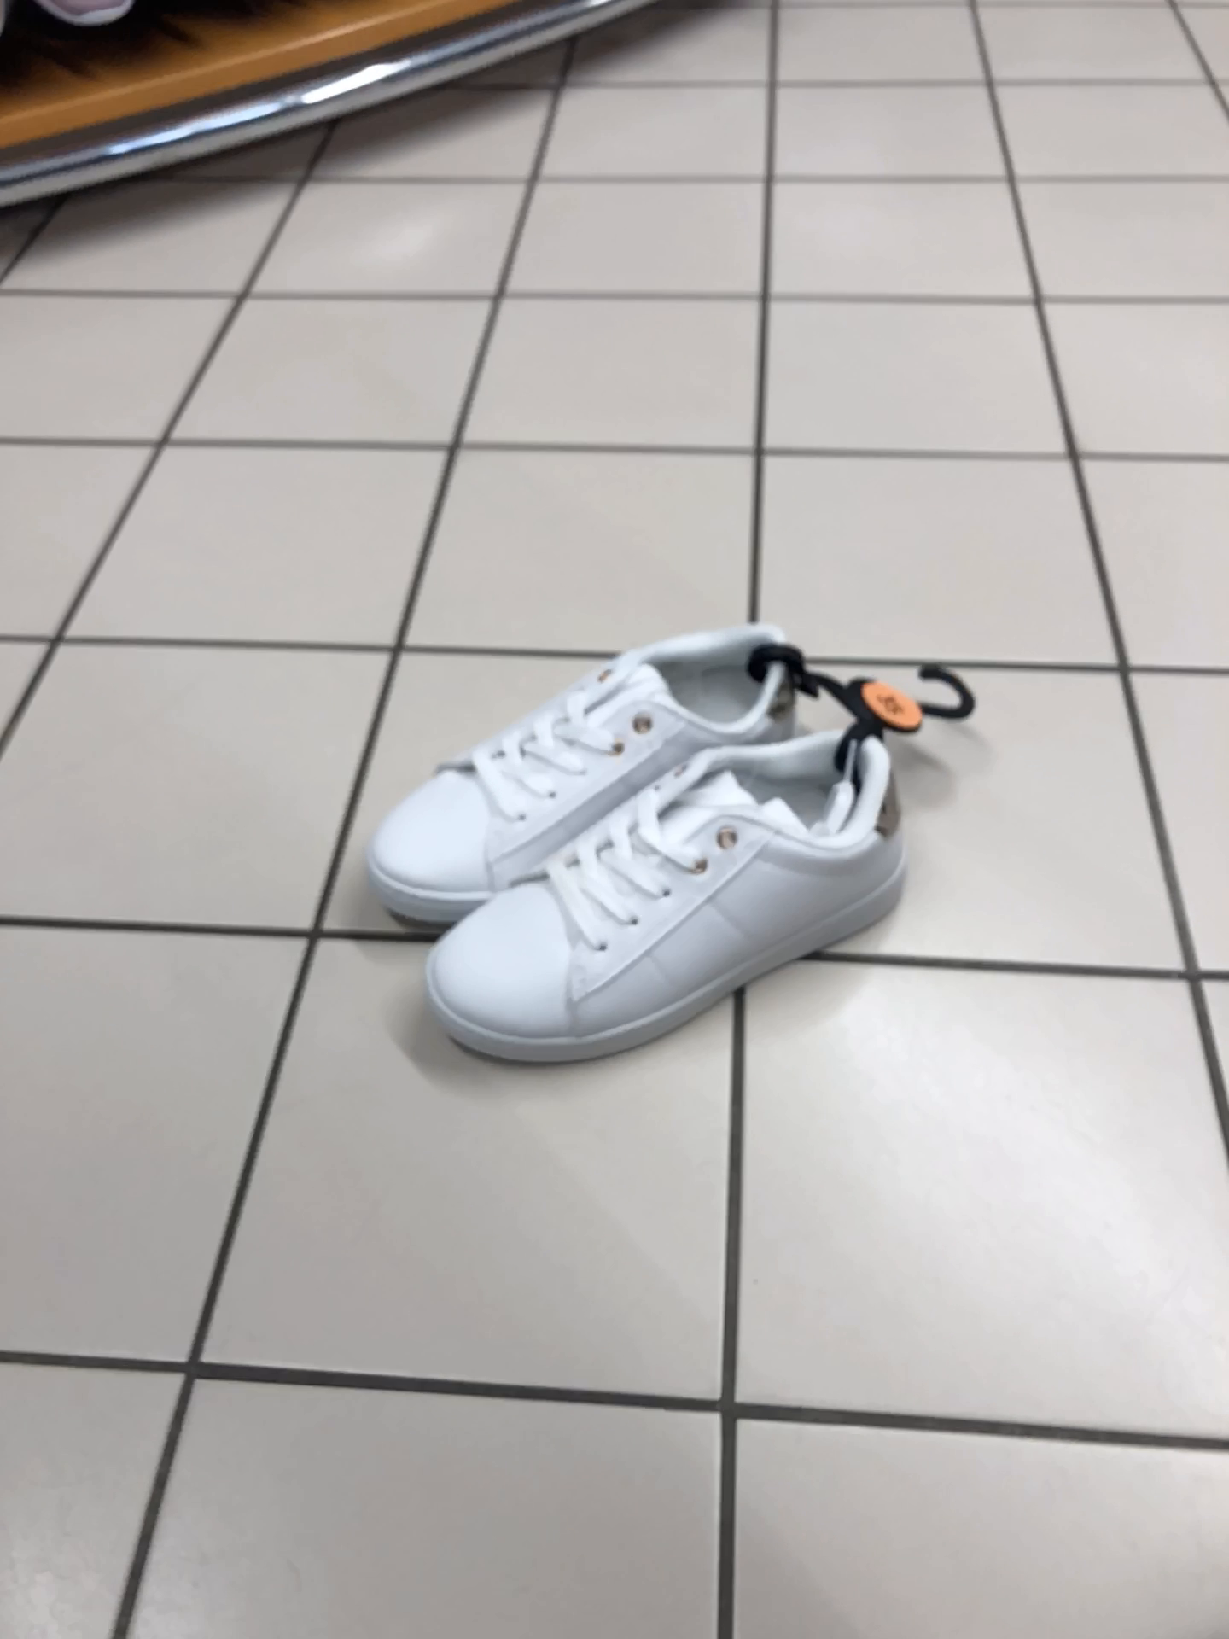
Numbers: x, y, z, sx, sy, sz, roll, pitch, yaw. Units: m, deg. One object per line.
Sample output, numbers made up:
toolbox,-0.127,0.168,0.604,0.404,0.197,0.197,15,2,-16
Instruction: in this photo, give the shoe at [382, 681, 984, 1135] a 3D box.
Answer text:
shoe,0.032,0.034,0.608,0.241,0.080,0.090,-22,51,-16

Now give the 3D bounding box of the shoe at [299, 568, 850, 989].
shoe,-0.015,-0.025,0.659,0.241,0.080,0.090,-24,52,-18
